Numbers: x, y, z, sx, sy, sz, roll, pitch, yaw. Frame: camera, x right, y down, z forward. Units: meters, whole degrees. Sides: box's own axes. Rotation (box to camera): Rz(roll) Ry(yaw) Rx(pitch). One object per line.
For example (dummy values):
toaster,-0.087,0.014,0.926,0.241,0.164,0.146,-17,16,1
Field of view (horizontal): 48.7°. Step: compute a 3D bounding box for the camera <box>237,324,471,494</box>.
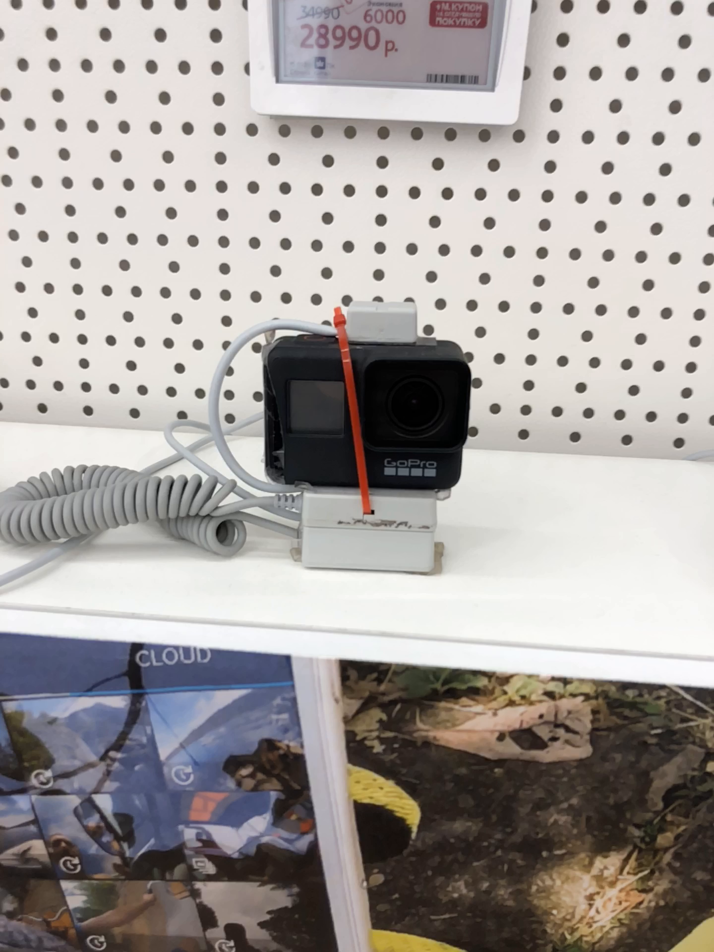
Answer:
camera,-0.001,-0.022,0.244,0.066,0.044,0.029,2,20,2
